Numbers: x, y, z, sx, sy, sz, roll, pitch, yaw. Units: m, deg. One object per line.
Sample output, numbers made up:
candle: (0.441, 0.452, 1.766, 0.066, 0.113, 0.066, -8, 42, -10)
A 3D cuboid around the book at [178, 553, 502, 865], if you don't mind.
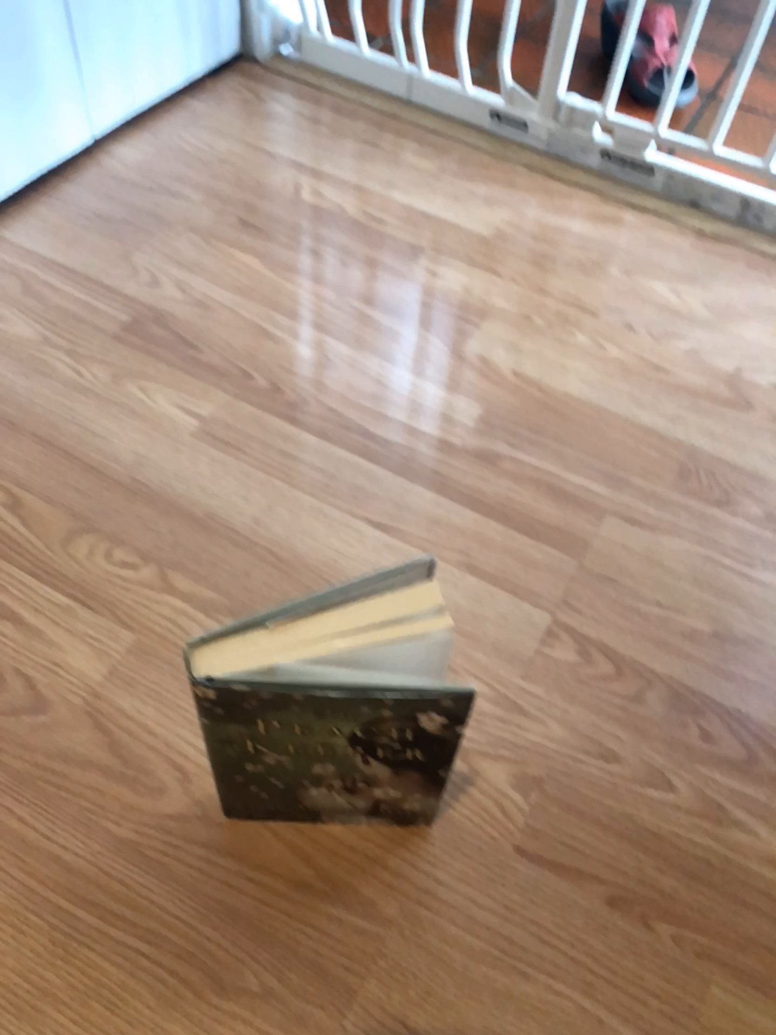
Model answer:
book: (-0.035, 0.125, 0.519, 0.150, 0.220, 0.080, -7, 55, -11)
